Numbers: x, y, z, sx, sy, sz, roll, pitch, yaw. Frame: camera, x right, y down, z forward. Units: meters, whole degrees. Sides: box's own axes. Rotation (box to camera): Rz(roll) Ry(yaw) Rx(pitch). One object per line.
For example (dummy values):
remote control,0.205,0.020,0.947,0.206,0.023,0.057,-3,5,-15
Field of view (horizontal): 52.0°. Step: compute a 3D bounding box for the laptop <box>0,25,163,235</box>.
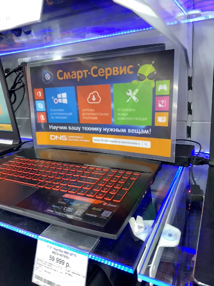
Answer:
laptop,-0.121,-0.055,0.454,0.405,0.237,0.287,4,20,27
